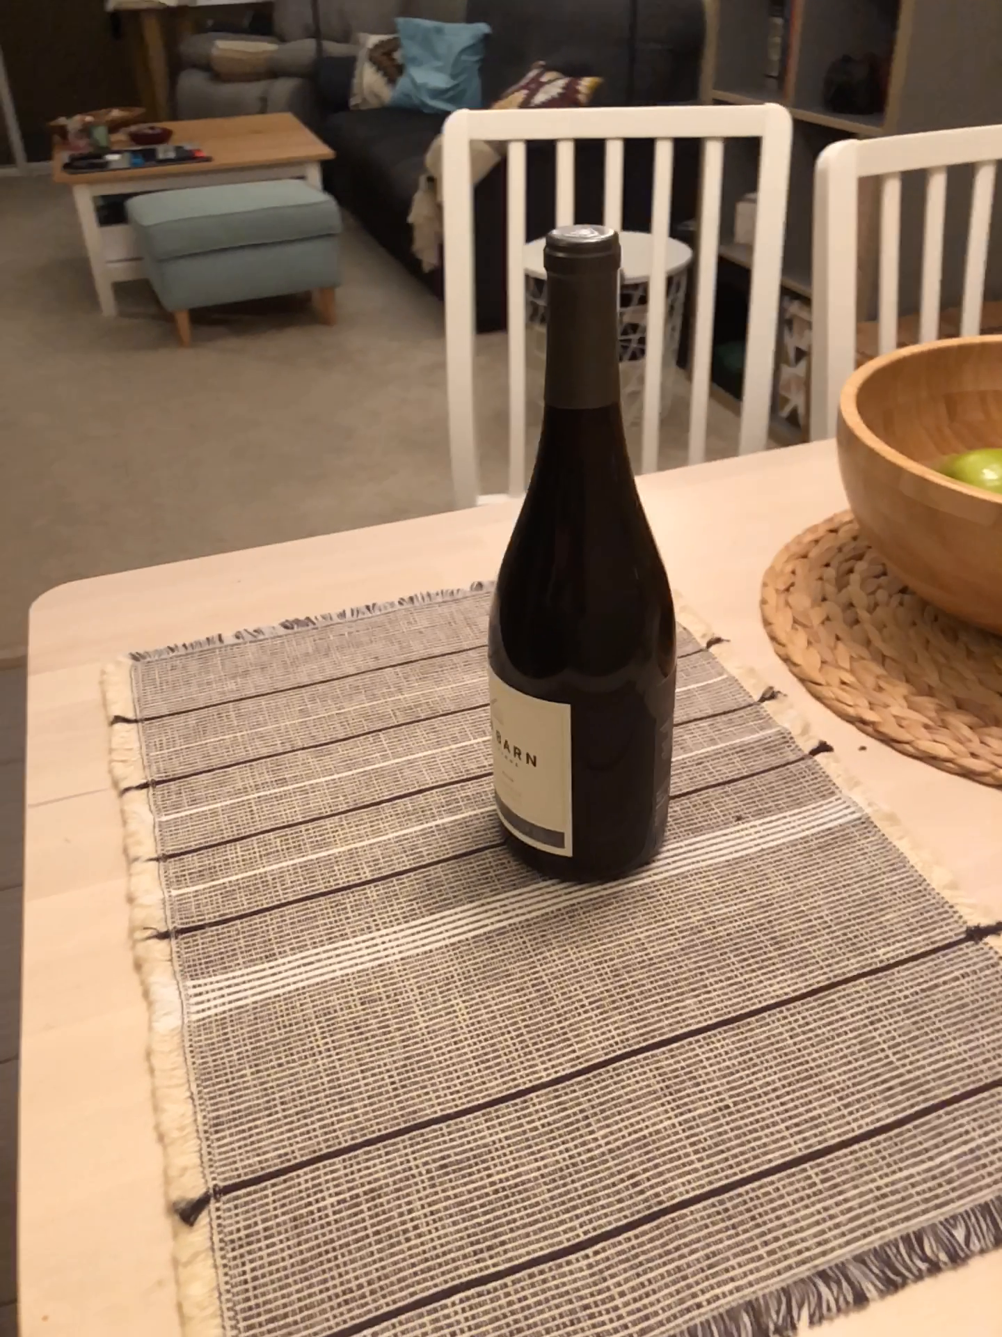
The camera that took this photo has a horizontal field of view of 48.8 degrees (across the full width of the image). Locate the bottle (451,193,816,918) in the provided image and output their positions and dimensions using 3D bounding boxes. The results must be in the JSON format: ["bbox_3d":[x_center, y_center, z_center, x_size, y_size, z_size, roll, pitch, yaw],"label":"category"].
[{"bbox_3d":[0.050,-0.040,0.483,0.100,0.288,0.090,-16,37,-20],"label":"bottle"}]

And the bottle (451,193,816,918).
[{"bbox_3d":[0.050,-0.040,0.483,0.100,0.288,0.090,-16,37,-20],"label":"bottle"}]
